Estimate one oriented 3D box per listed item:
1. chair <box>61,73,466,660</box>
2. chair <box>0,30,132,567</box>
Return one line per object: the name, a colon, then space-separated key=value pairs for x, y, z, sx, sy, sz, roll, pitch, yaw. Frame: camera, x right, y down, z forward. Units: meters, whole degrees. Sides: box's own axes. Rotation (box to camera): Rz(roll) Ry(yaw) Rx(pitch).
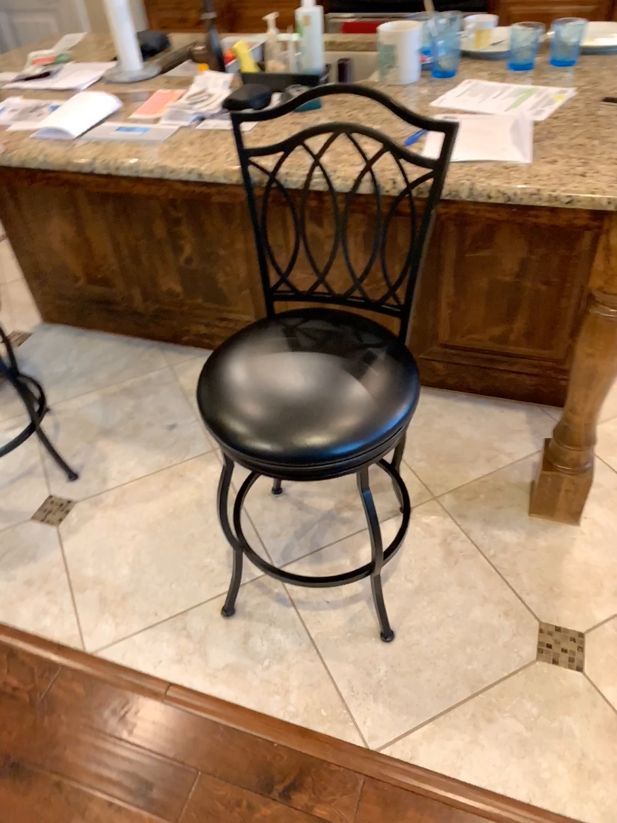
chair: x=0.010 y=-0.034 z=1.287 sx=0.468 sy=1.068 sz=0.506 roll=8 pitch=44 yaw=14
chair: x=-0.976 y=-0.245 z=1.552 sx=0.555 sy=1.098 sz=0.589 roll=12 pitch=45 yaw=19
